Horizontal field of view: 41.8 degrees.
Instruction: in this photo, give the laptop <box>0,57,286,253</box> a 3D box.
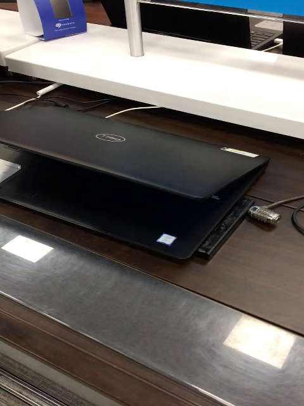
[{"bbox_3d":[-0.061,-0.088,0.575,0.379,0.108,0.224,20,49,20],"label":"laptop"}]
